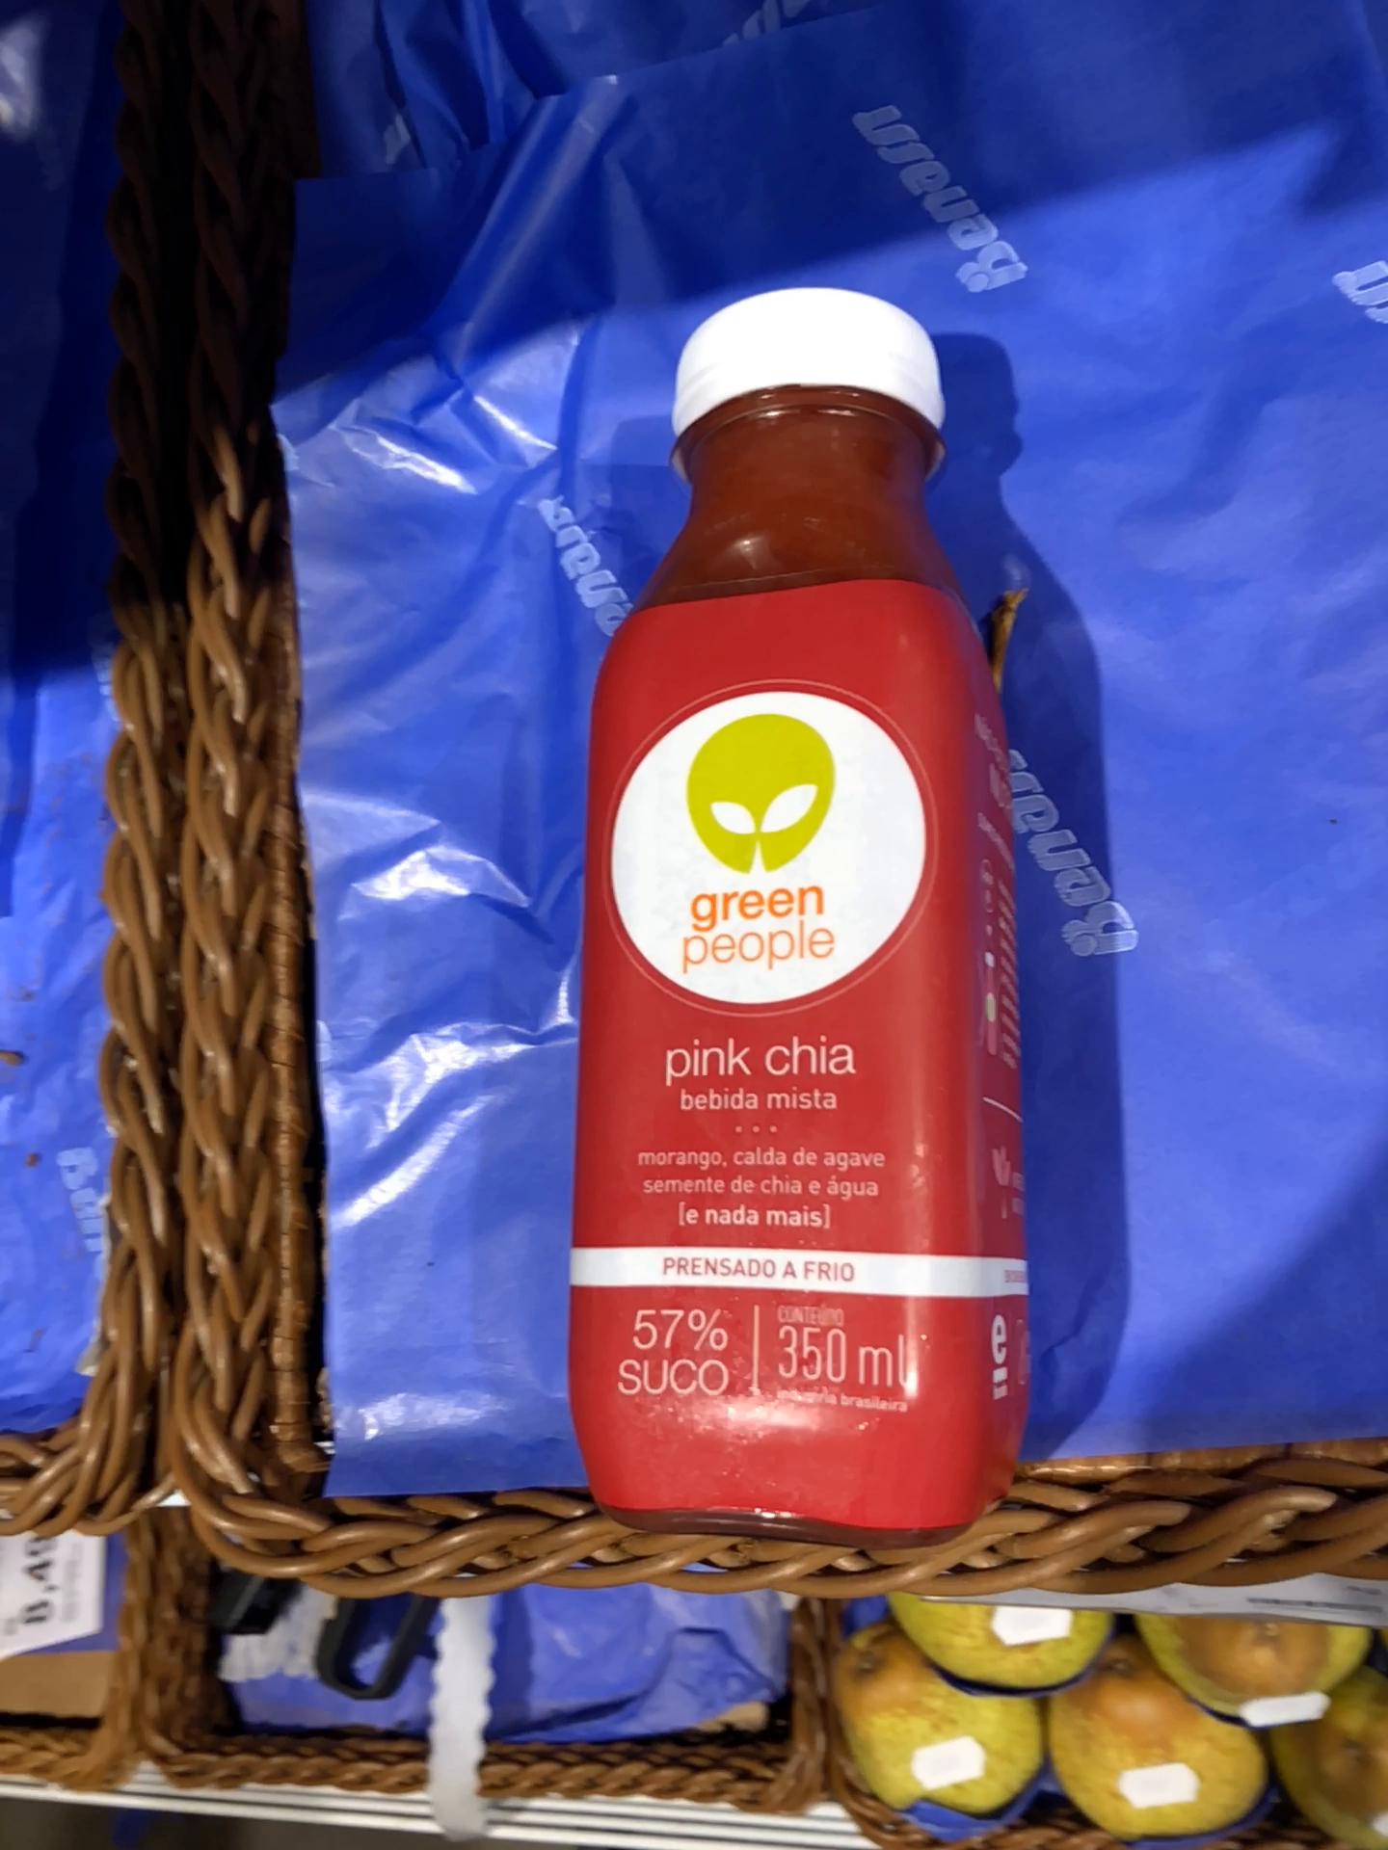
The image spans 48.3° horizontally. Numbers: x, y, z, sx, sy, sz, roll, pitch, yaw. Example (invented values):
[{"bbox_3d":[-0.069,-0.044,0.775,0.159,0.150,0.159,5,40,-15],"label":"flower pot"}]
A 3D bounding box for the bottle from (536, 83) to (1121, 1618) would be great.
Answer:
[{"bbox_3d":[0.024,-0.012,0.223,0.060,0.060,0.190,-3,76,23],"label":"bottle"}]
